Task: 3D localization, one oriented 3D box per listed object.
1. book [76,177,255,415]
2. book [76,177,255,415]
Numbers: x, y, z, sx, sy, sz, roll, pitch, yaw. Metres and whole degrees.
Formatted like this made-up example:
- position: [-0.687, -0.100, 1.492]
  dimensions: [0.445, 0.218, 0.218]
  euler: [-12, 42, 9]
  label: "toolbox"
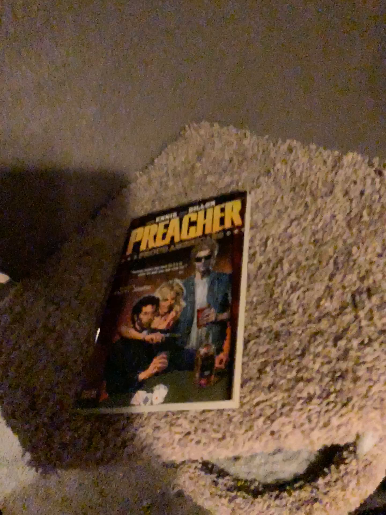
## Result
- position: [-0.018, 0.029, 0.464]
  dimensions: [0.170, 0.020, 0.270]
  euler: [-12, 47, 23]
  label: "book"
- position: [-0.018, 0.029, 0.464]
  dimensions: [0.170, 0.020, 0.270]
  euler: [-12, 47, 23]
  label: "book"
